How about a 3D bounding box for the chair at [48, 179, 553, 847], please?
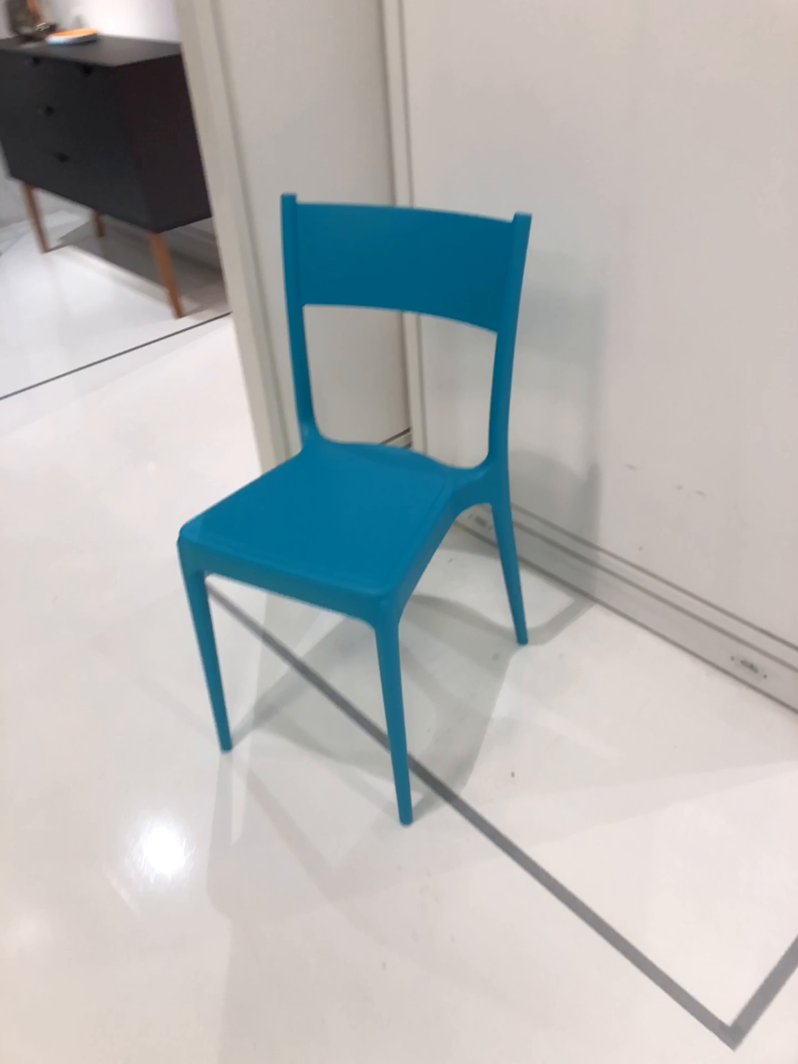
[{"bbox_3d":[-0.070,-0.047,1.334,0.431,0.794,0.513,14,39,26],"label":"chair"}]
